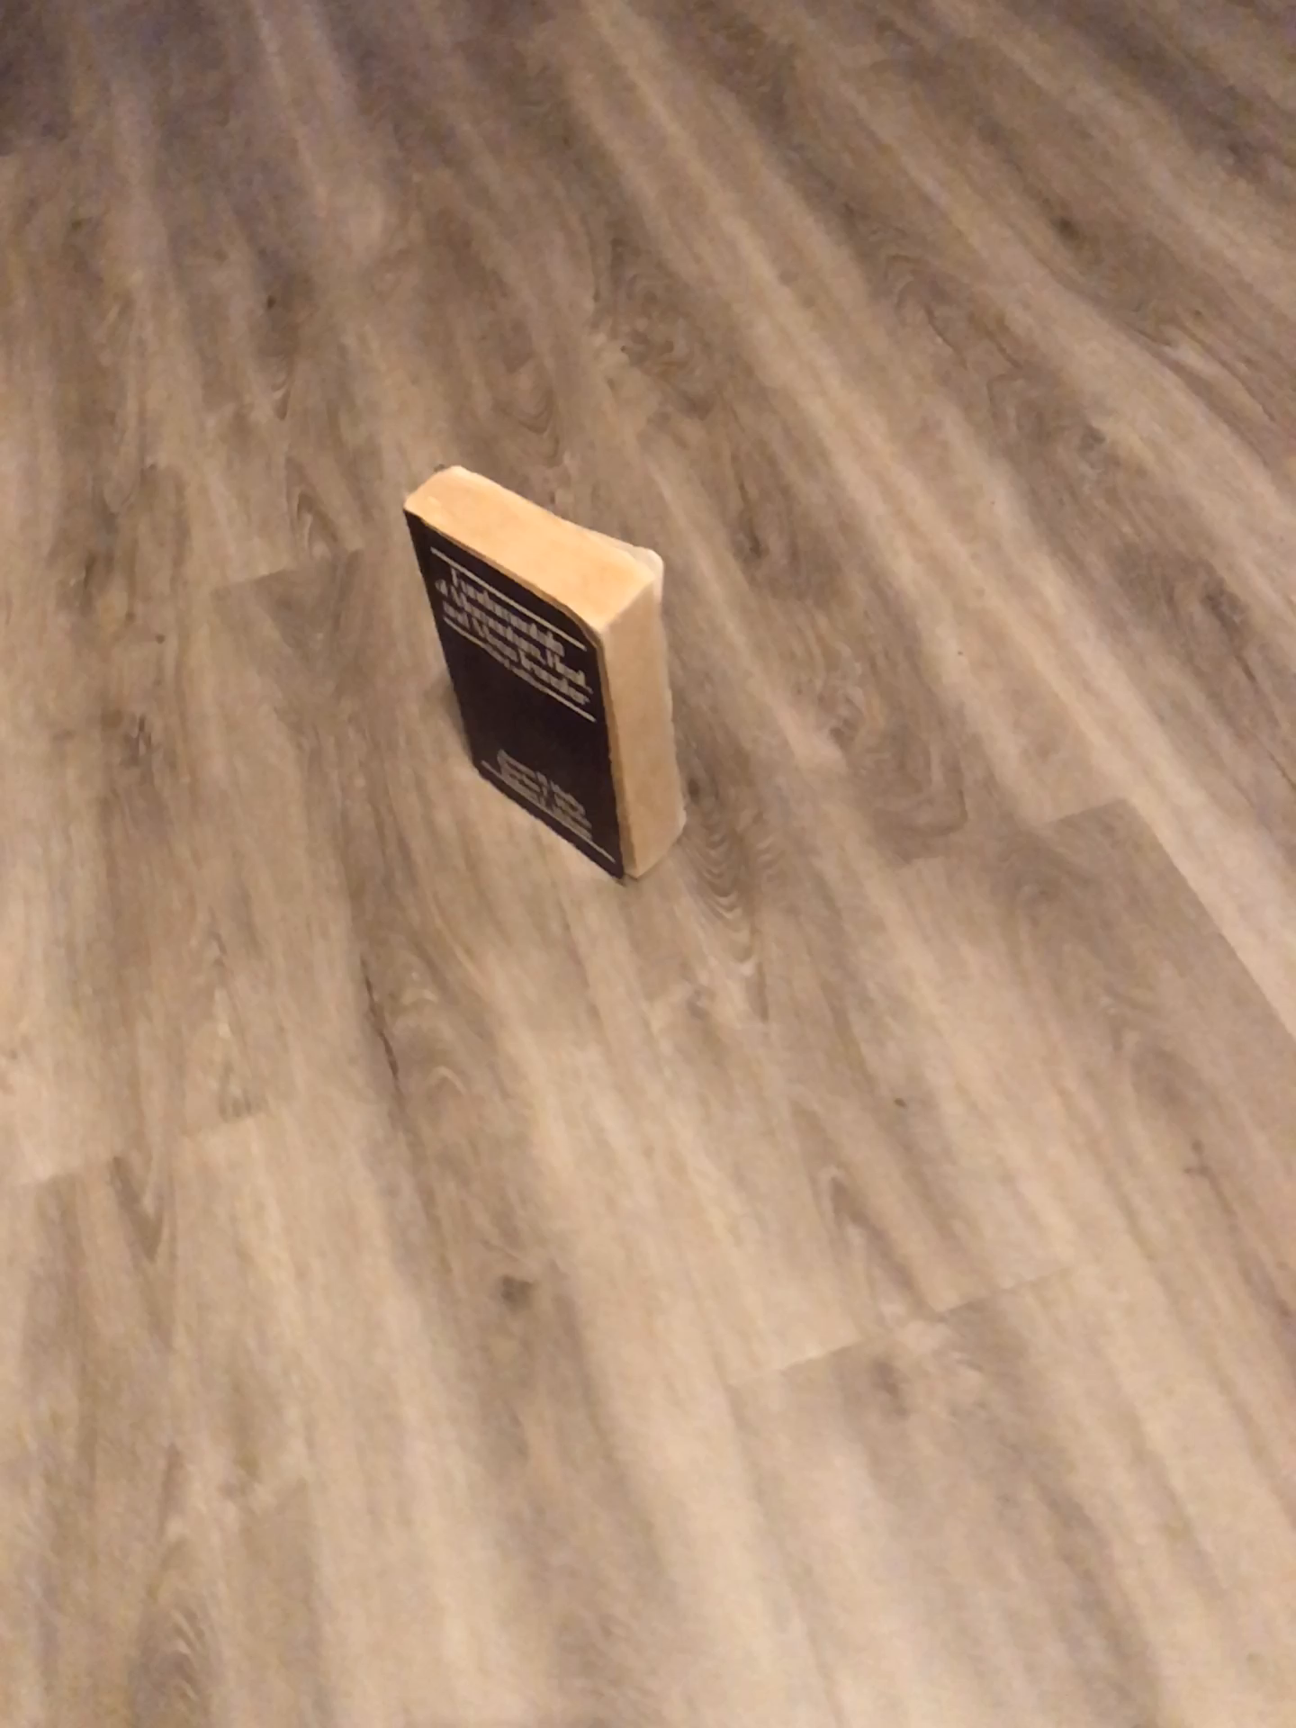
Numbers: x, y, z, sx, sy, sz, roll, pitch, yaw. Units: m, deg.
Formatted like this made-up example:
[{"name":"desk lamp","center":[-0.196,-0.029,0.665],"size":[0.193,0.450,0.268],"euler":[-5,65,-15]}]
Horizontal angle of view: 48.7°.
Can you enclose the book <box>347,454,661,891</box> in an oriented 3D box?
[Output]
[{"name":"book","center":[-0.077,-0.106,0.840],"size":[0.155,0.219,0.060],"euler":[32,61,26]}]
